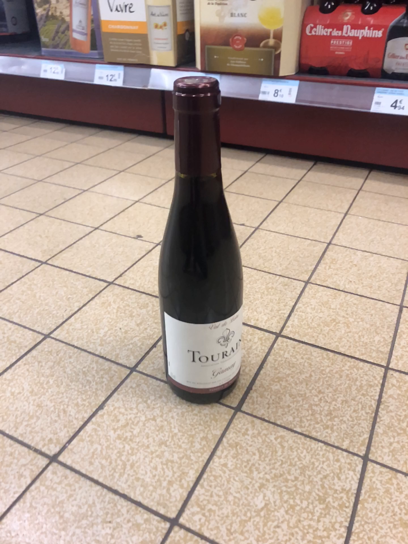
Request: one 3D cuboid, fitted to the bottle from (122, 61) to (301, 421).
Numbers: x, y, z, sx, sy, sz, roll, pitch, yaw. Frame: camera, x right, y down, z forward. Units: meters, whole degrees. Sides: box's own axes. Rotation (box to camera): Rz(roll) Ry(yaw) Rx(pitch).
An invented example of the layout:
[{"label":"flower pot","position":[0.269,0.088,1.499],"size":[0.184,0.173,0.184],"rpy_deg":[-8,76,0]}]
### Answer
[{"label":"bottle","position":[0.002,-0.014,0.321],"size":[0.080,0.239,0.070],"rpy_deg":[-14,34,-21]}]
